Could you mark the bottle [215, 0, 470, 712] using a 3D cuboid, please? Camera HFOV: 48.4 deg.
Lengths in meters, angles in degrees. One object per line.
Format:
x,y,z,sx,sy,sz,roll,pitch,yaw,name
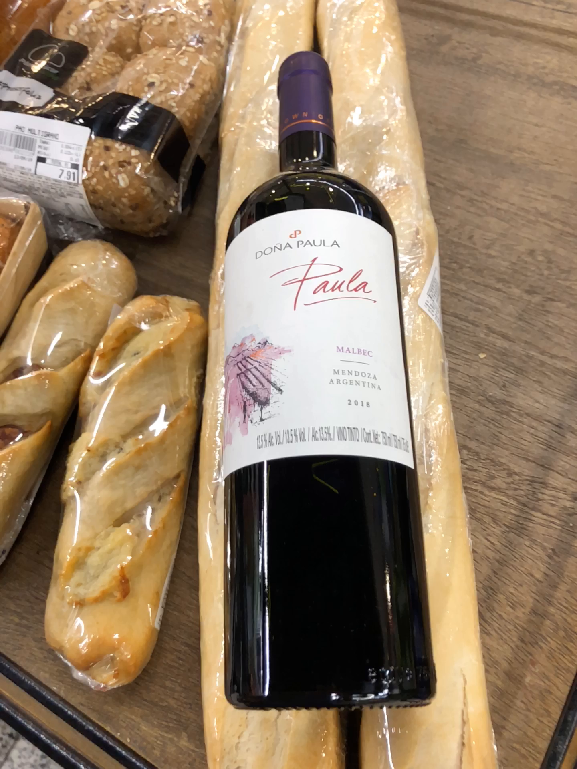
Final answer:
0.014,-0.034,0.268,0.070,0.060,0.301,-5,65,6,bottle
